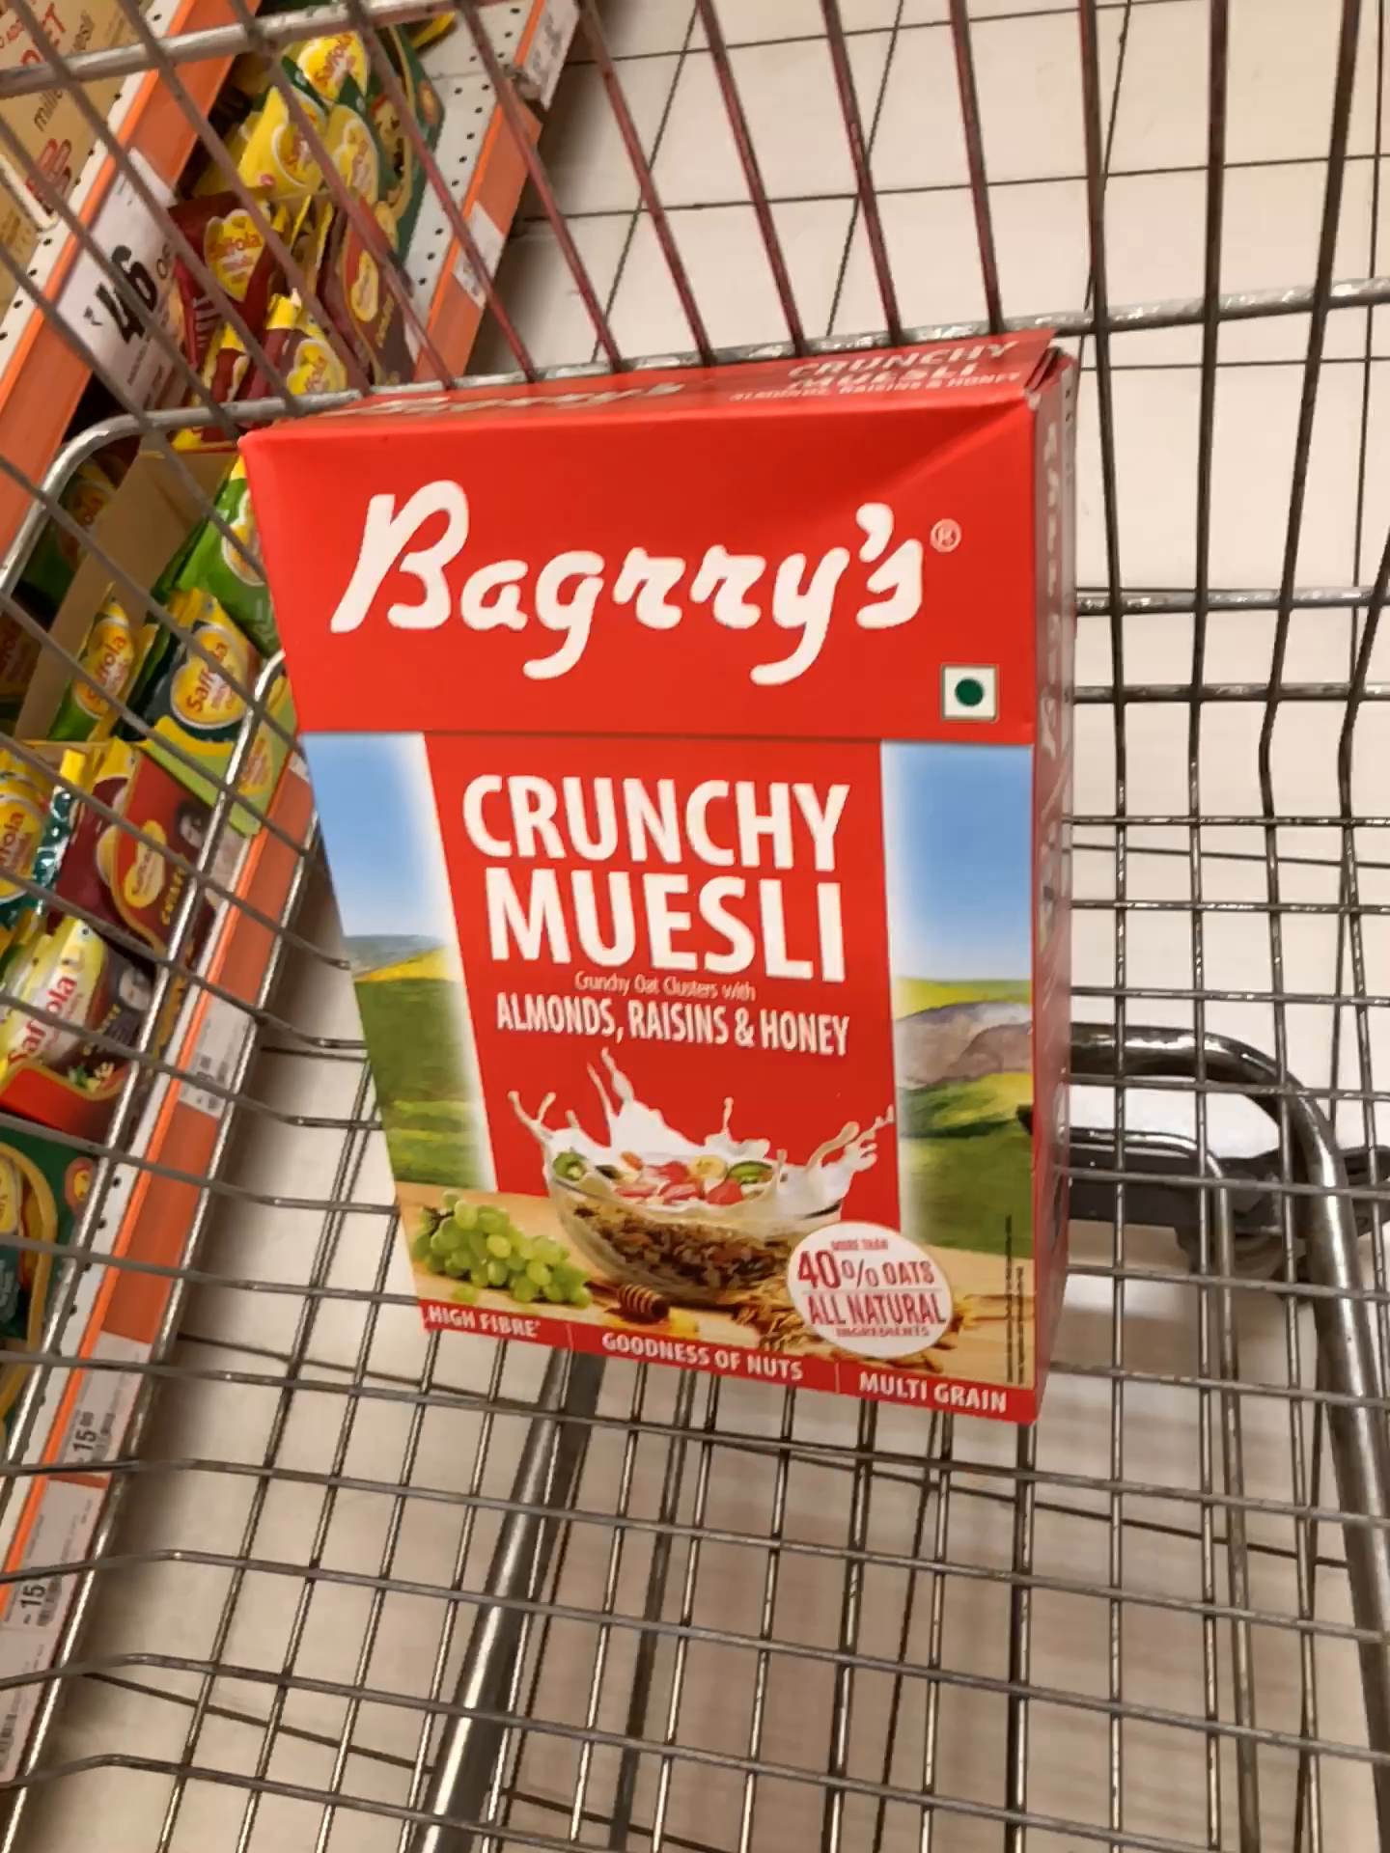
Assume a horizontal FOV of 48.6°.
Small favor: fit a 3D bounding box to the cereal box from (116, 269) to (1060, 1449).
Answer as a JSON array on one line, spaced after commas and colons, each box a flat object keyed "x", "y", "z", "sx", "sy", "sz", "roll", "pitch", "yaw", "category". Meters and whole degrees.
[{"x": -0.008, "y": -0.004, "z": 0.390, "sx": 0.190, "sy": 0.279, "sz": 0.060, "roll": 3, "pitch": 31, "yaw": 18, "category": "cereal box"}]
